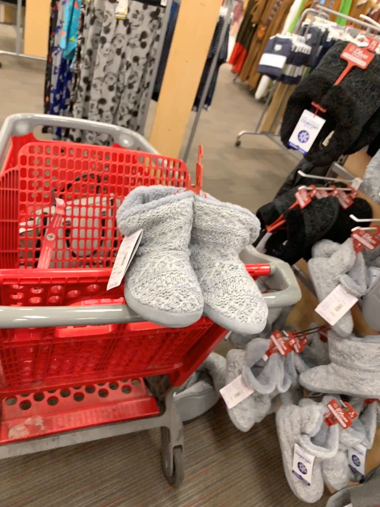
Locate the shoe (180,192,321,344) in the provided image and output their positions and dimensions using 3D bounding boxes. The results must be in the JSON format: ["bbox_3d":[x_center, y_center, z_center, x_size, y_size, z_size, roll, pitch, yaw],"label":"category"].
[{"bbox_3d":[0.078,0.014,0.619,0.110,0.119,0.231,5,33,-21],"label":"shoe"}]

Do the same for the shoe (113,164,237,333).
[{"bbox_3d":[-0.041,-0.017,0.610,0.110,0.139,0.251,5,33,-21],"label":"shoe"}]
